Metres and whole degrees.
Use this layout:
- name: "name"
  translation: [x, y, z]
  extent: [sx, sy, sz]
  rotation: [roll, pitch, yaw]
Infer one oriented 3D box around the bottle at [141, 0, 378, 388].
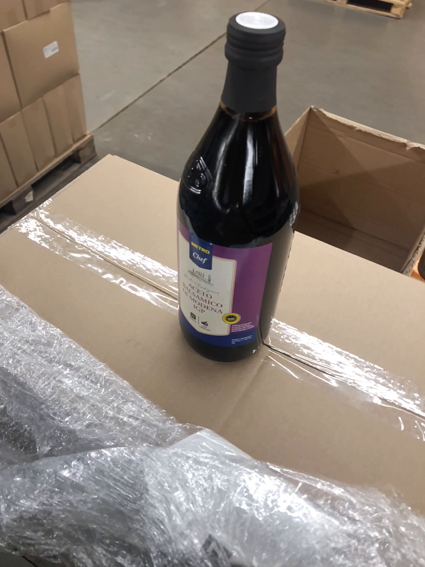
- name: "bottle"
  translation: [0.022, -0.043, 0.339]
  extent: [0.090, 0.257, 0.090]
  rotation: [2, 49, -2]
